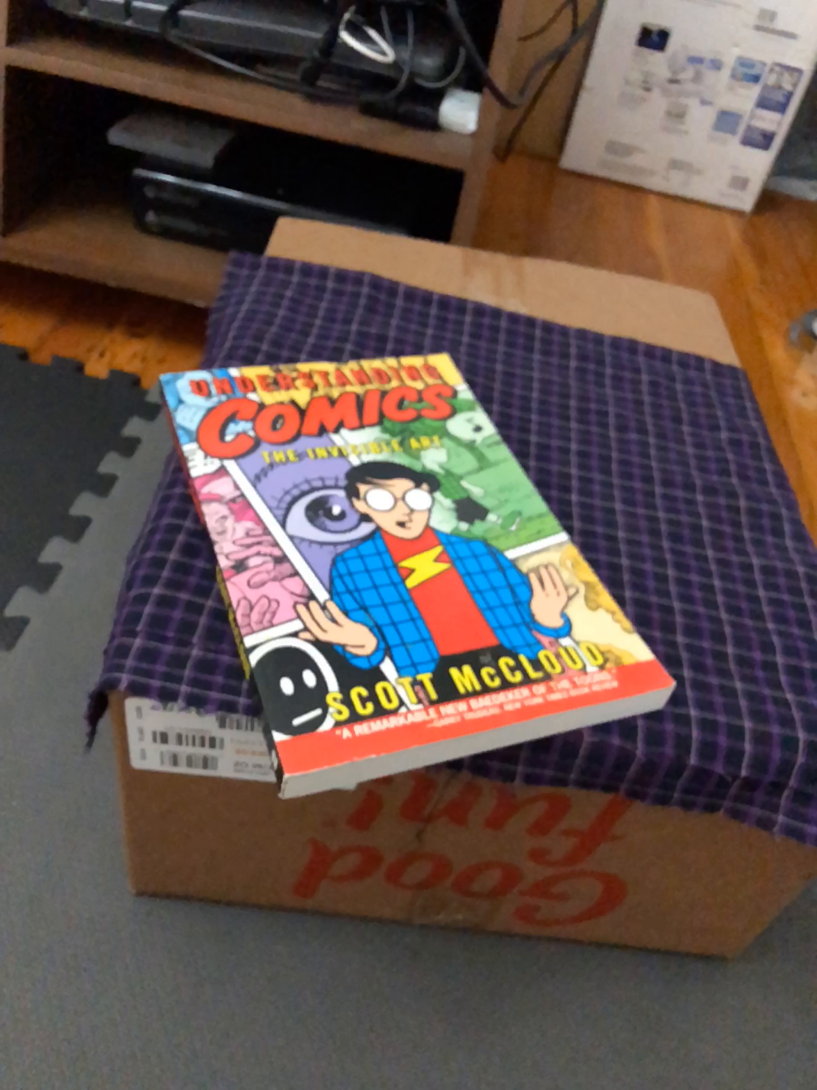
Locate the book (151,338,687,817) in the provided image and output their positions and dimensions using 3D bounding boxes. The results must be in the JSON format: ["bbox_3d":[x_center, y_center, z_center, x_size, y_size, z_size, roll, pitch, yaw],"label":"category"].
[{"bbox_3d":[-0.013,-0.014,0.436,0.170,0.020,0.271,-8,46,-21],"label":"book"}]
